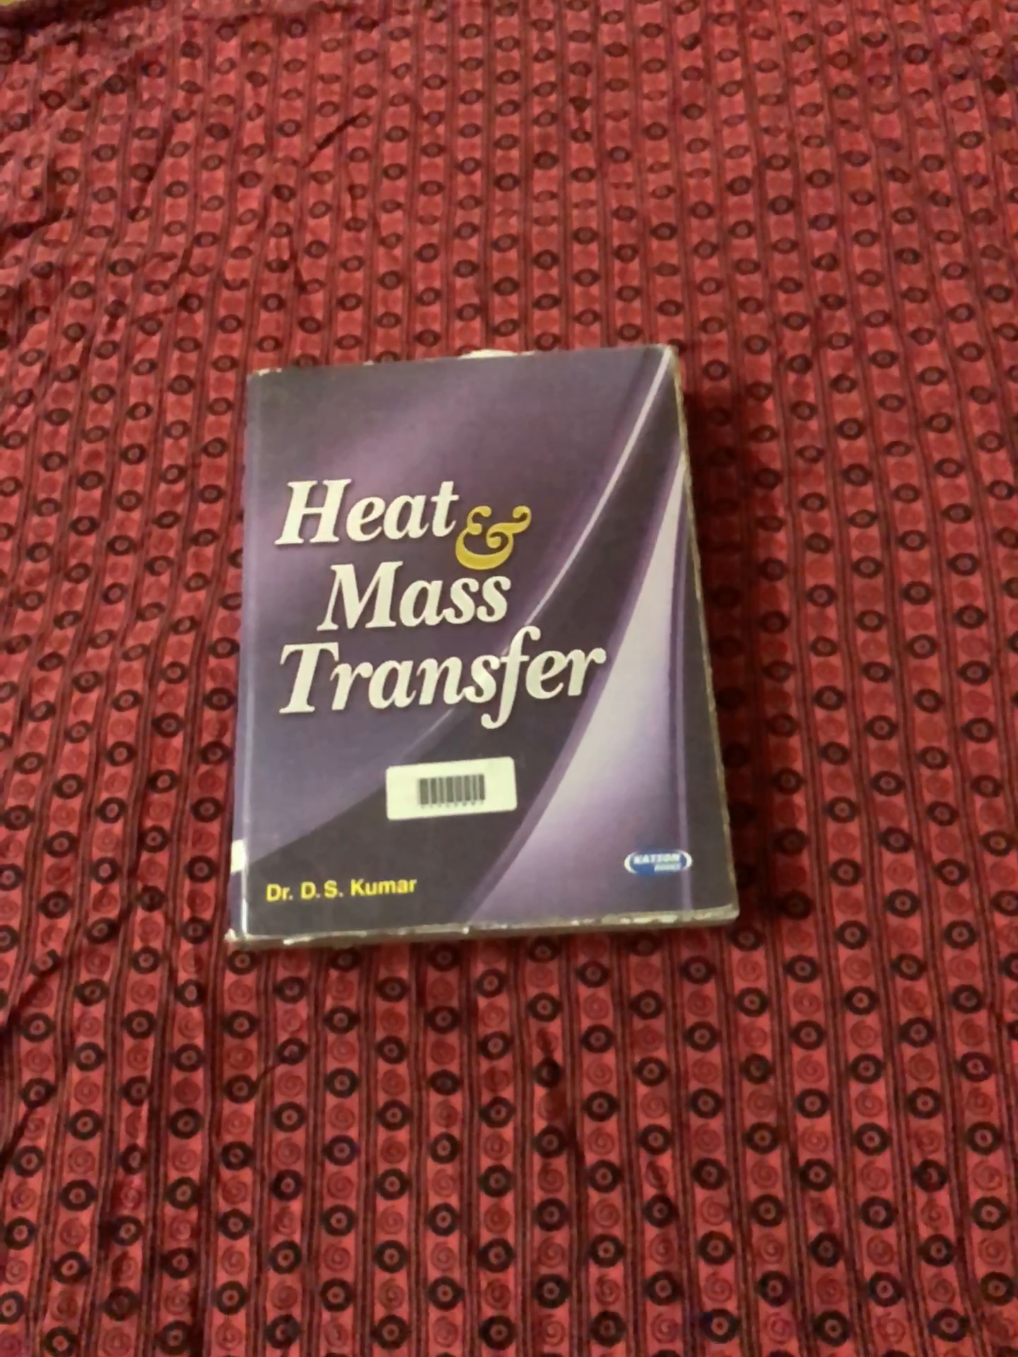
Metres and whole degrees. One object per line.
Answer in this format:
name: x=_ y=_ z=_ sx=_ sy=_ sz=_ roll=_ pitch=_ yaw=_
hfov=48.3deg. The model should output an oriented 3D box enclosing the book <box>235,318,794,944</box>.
book: x=-0.001 y=-0.020 z=0.398 sx=0.170 sy=0.040 sz=0.211 roll=-3 pitch=71 yaw=3
